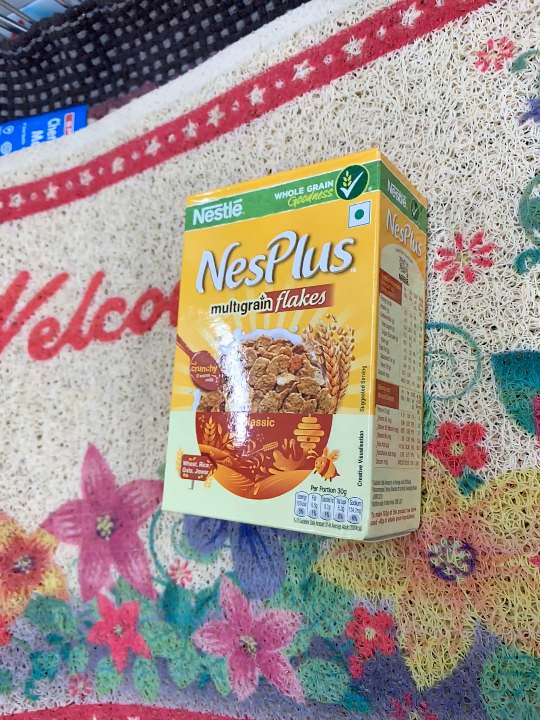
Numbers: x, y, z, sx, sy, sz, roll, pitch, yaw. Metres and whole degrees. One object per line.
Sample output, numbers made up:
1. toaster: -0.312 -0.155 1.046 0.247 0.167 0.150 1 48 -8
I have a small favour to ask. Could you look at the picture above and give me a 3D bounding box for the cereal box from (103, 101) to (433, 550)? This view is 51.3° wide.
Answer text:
1. cereal box: -0.004 -0.010 0.237 0.131 0.040 0.150 -3 78 36
